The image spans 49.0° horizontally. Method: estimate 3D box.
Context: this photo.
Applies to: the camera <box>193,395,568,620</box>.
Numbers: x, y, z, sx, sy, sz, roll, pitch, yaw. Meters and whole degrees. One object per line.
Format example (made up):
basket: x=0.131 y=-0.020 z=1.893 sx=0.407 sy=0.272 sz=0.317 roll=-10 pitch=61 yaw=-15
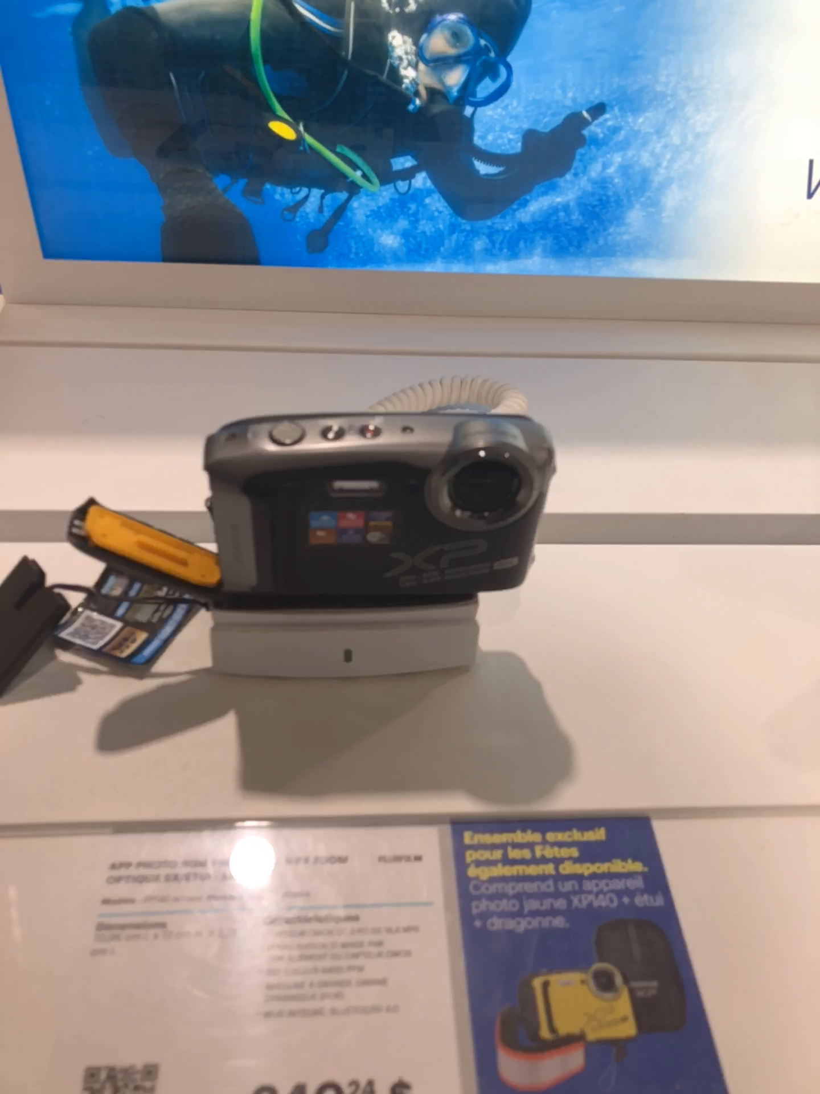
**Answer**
camera: x=-0.010 y=-0.011 z=0.284 sx=0.106 sy=0.069 sz=0.023 roll=-2 pitch=42 yaw=-7
